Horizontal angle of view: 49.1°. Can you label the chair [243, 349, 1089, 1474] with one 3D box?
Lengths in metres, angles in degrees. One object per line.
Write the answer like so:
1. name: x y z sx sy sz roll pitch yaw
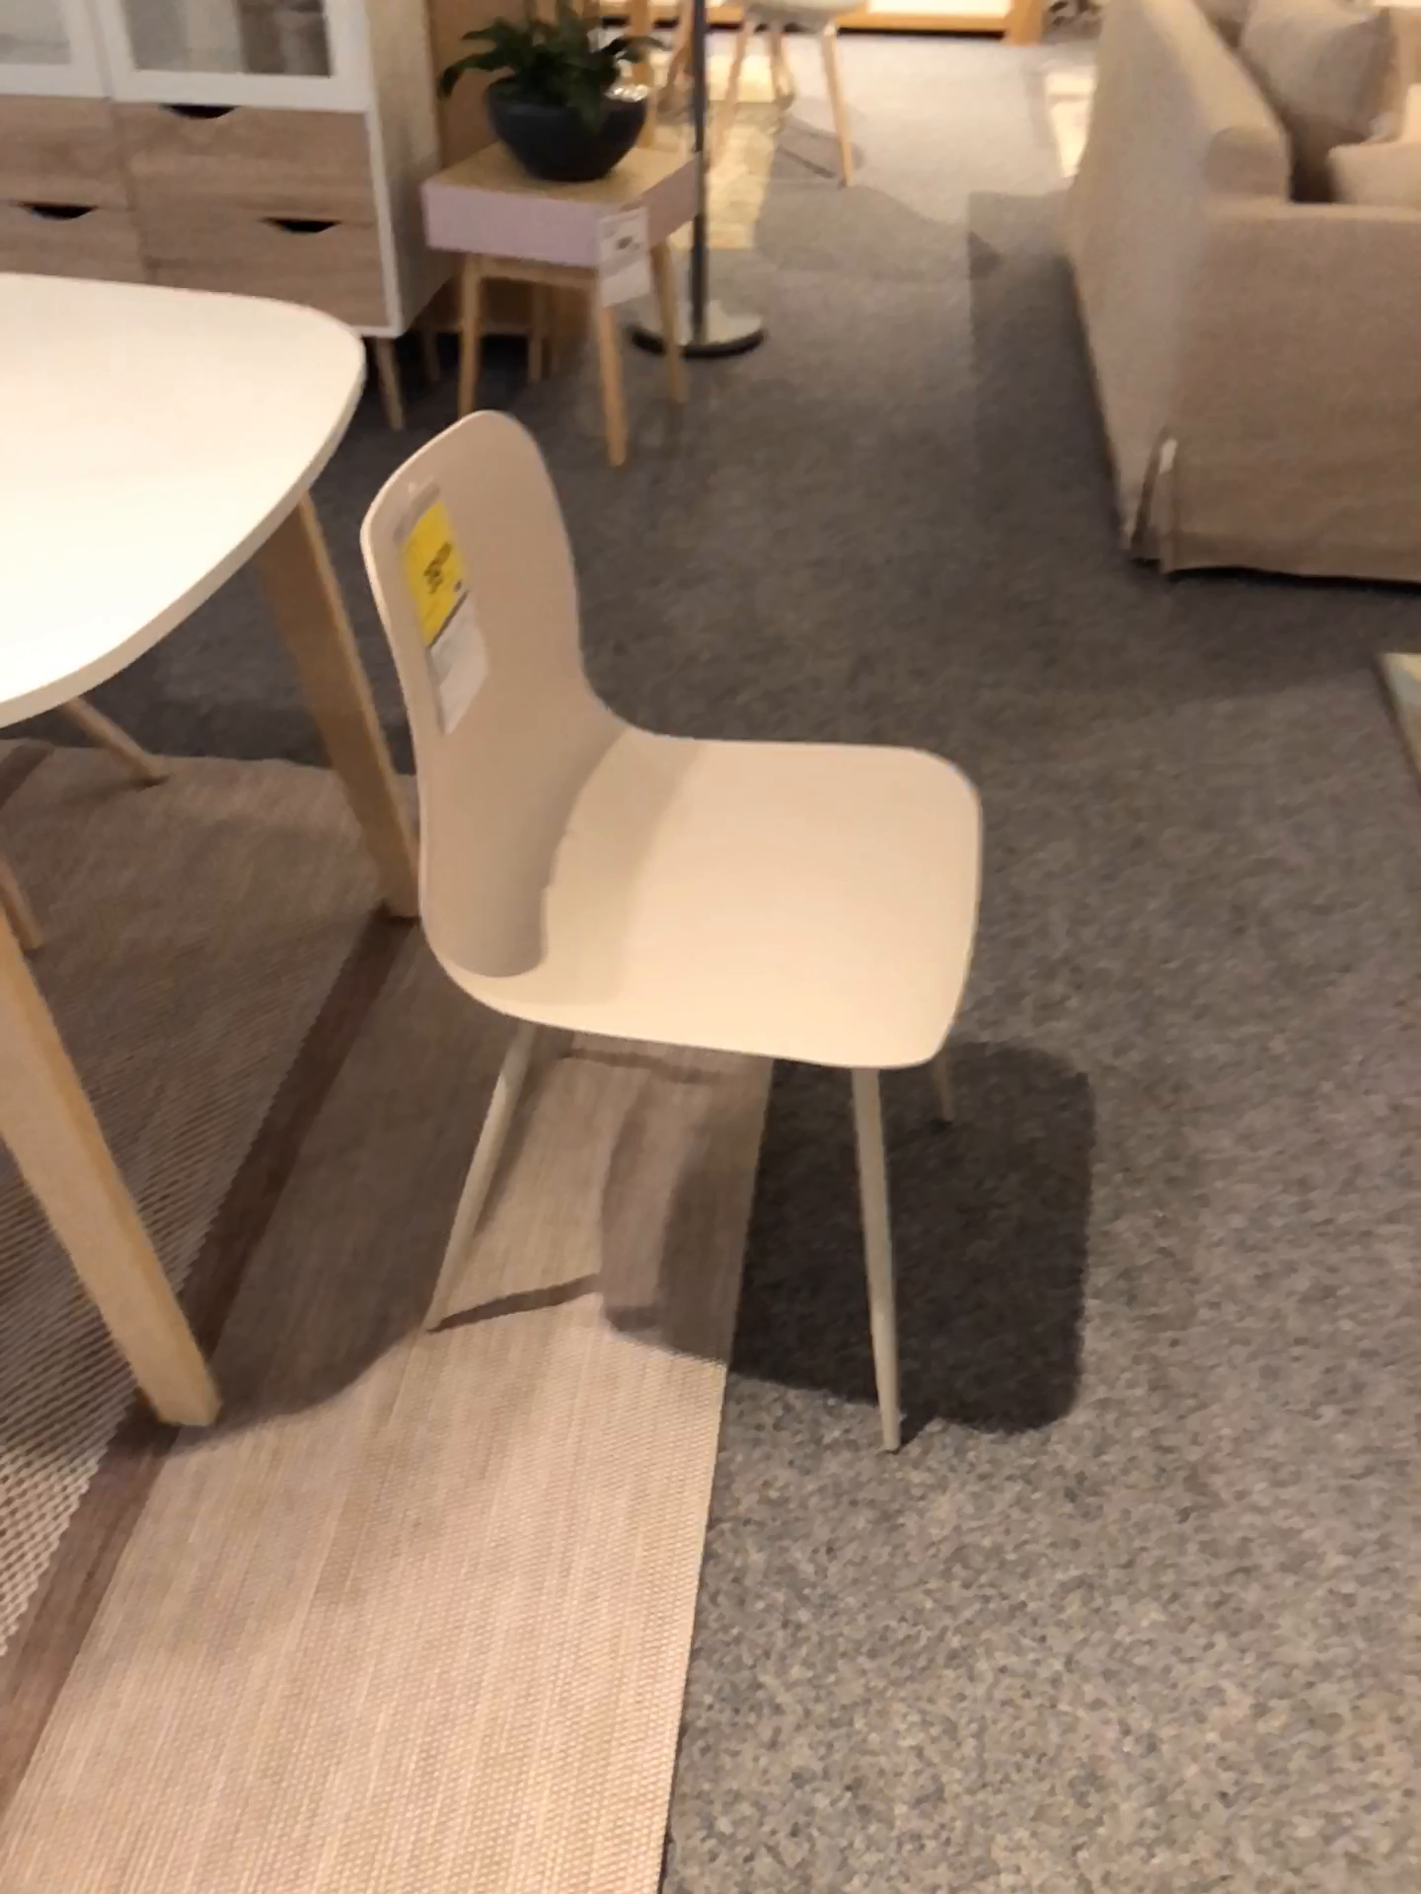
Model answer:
1. chair: 0.002 -0.023 1.337 0.500 0.765 0.503 7 40 7
